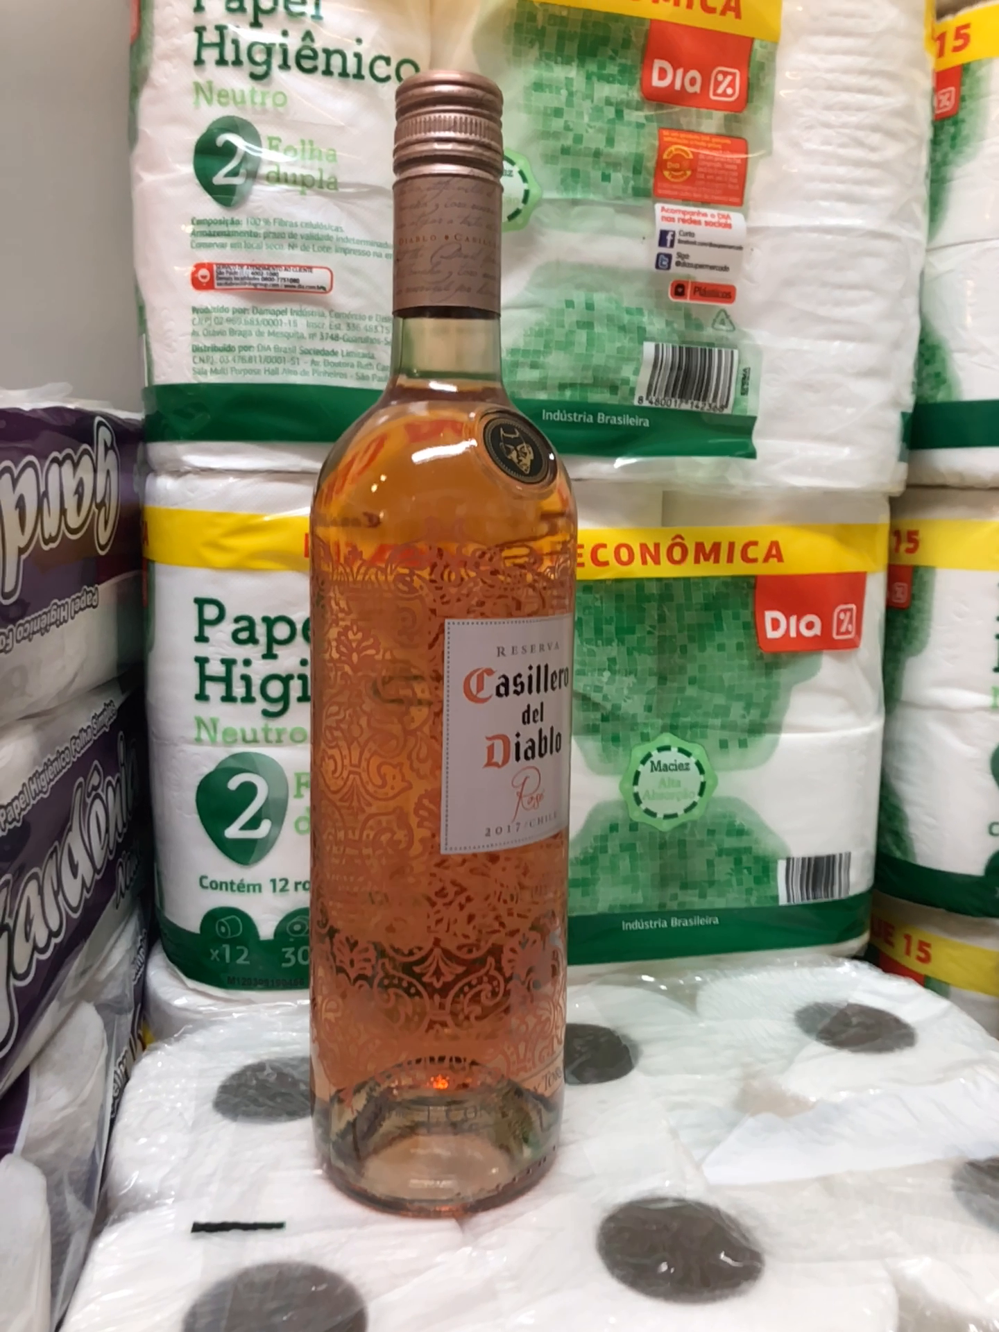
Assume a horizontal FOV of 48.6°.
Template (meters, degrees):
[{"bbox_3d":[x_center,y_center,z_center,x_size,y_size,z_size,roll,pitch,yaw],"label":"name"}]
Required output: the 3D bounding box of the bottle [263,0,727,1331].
[{"bbox_3d":[-0.004,0.005,0.309,0.090,0.309,0.080,-5,11,-33],"label":"bottle"}]
